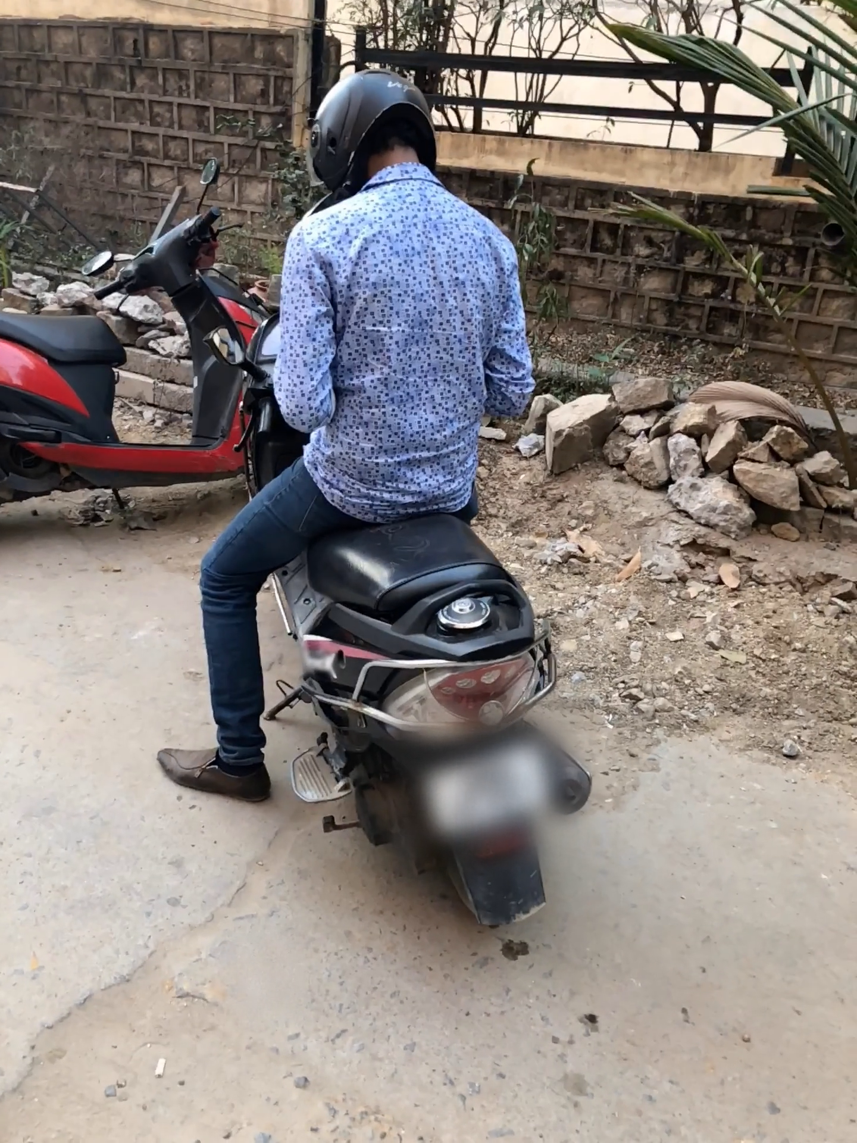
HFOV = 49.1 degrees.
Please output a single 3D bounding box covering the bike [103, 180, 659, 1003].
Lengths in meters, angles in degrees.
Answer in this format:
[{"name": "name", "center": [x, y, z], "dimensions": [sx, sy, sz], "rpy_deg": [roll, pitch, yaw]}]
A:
[{"name": "bike", "center": [-0.275, -0.135, 2.078], "dimensions": [0.560, 1.054, 1.480], "rpy_deg": [-6, 30, -26]}]
